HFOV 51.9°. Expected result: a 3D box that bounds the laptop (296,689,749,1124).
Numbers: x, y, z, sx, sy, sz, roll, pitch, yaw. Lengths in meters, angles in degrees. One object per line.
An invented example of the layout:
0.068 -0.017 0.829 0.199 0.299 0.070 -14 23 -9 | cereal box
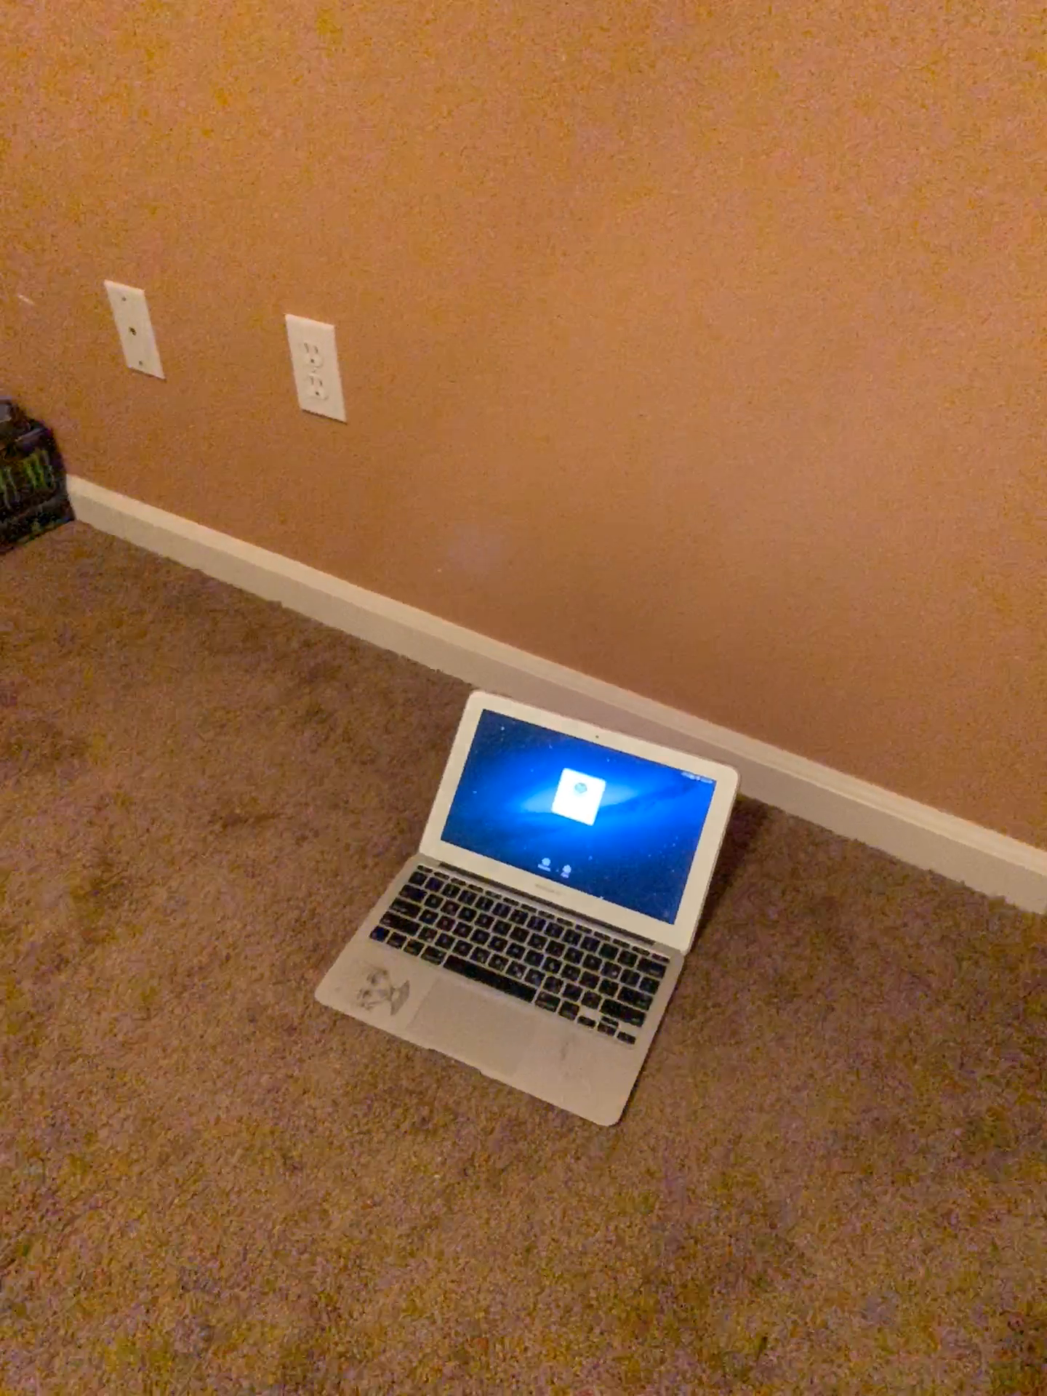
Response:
0.013 0.171 1.010 0.298 0.116 0.326 17 43 19 | laptop
